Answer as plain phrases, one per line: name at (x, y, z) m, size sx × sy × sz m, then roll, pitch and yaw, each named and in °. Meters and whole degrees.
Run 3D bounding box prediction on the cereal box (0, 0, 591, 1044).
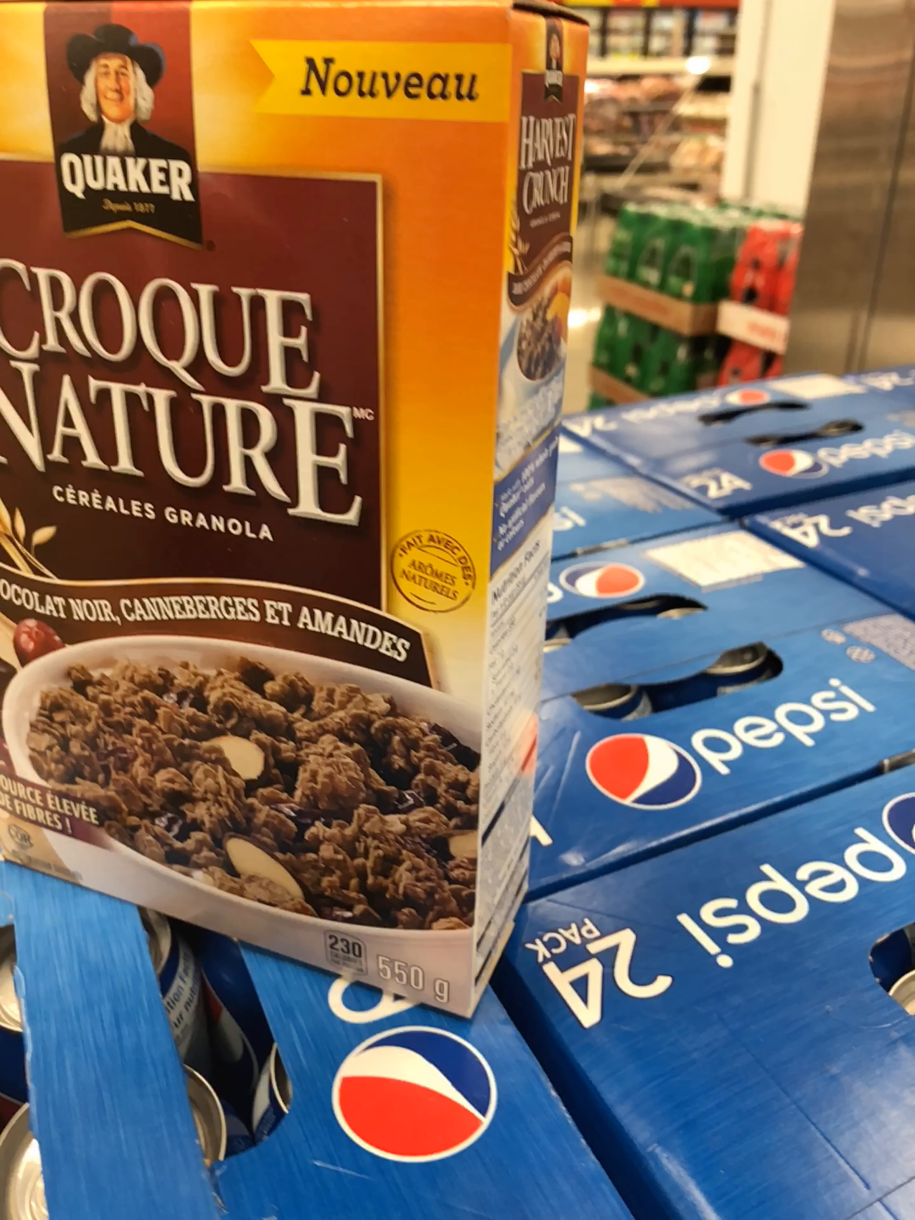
cereal box at (-0.059, -0.020, 0.257) m, size 0.160 × 0.229 × 0.060 m, roll 11°, pitch 30°, yaw 21°
